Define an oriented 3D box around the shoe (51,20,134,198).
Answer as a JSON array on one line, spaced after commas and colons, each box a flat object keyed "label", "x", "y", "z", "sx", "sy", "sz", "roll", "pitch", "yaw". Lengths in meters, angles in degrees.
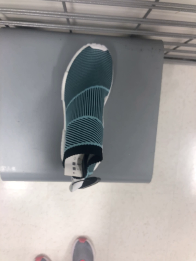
[{"label": "shoe", "x": -0.018, "y": -0.036, "z": 0.449, "sx": 0.120, "sy": 0.130, "sz": 0.300, "roll": 4, "pitch": 99, "yaw": -6}]
